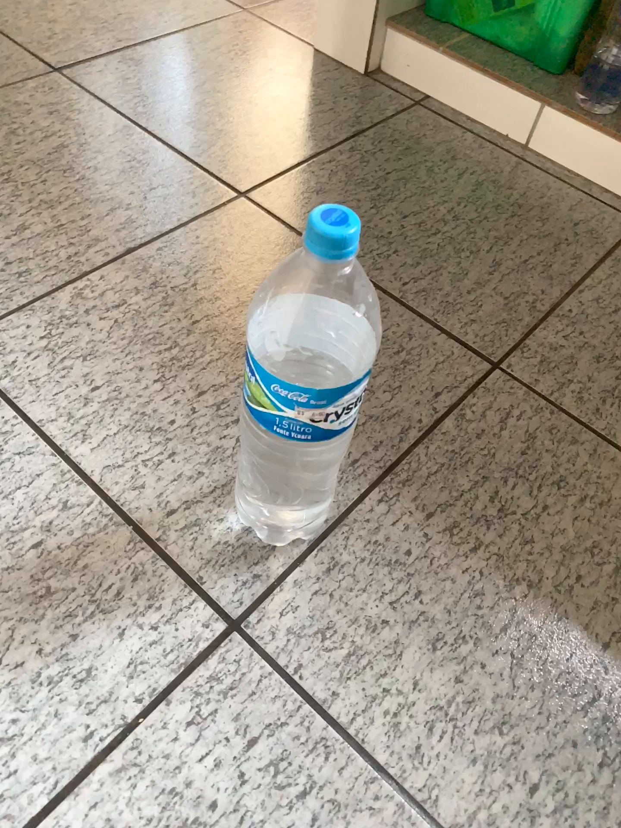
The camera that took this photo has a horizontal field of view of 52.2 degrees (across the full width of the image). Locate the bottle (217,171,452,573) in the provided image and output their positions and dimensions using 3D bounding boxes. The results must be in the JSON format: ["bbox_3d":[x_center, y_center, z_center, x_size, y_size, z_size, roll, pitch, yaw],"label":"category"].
[{"bbox_3d":[-0.005,-0.005,0.451,0.090,0.299,0.090,4,53,-6],"label":"bottle"}]
